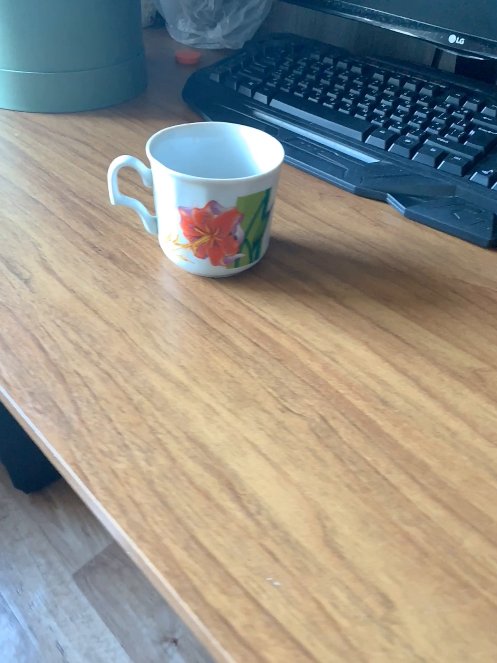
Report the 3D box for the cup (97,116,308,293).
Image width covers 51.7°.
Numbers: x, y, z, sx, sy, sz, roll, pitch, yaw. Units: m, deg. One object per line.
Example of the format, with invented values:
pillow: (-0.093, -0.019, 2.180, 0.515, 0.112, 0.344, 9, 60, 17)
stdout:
cup: (-0.031, -0.080, 0.317, 0.110, 0.080, 0.070, -4, 42, -11)
